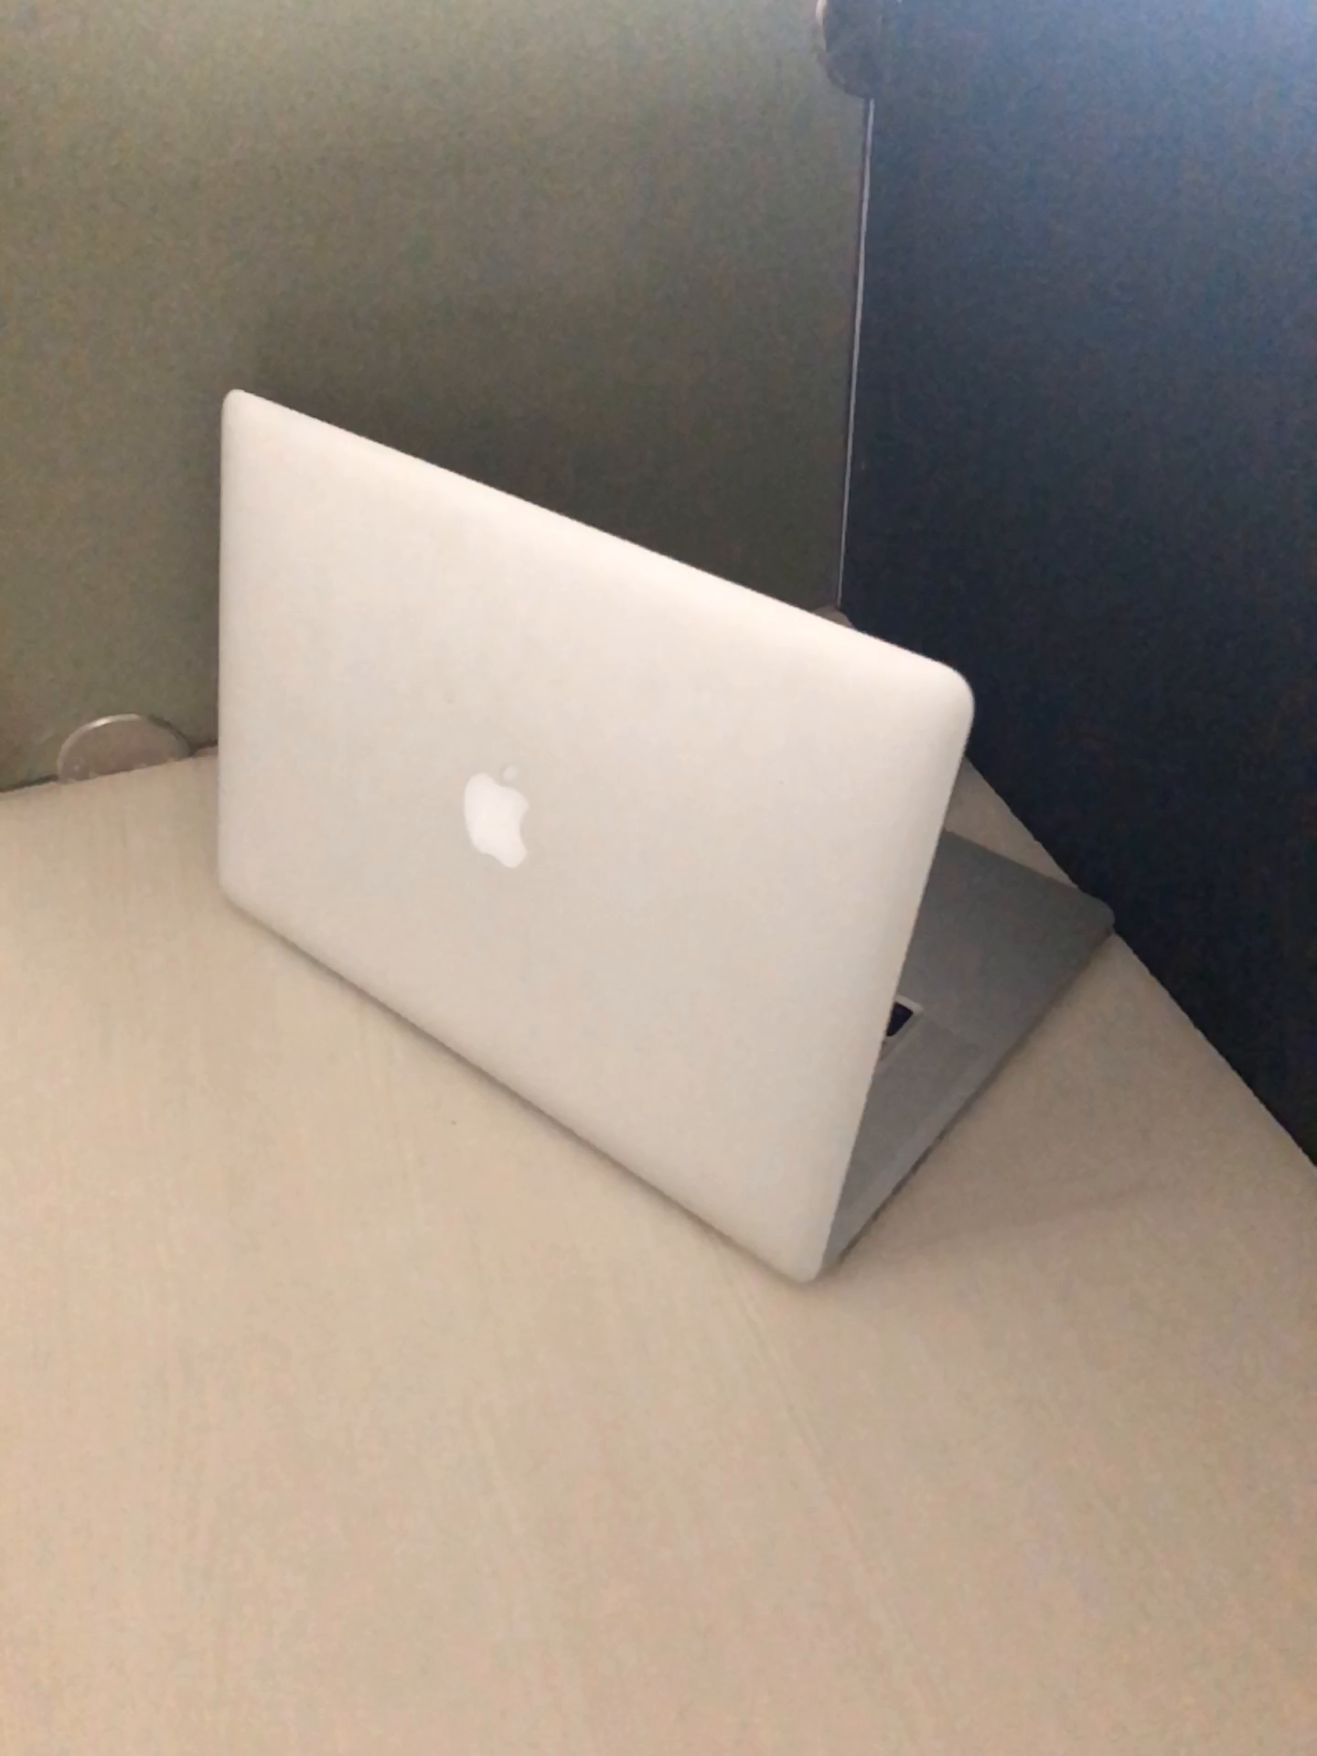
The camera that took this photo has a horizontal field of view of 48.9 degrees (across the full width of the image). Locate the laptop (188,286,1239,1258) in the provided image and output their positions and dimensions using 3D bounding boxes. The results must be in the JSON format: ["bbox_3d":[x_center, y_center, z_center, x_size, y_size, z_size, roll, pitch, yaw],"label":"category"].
[{"bbox_3d":[0.020,-0.071,0.630,0.322,0.232,0.244,29,49,30],"label":"laptop"}]
